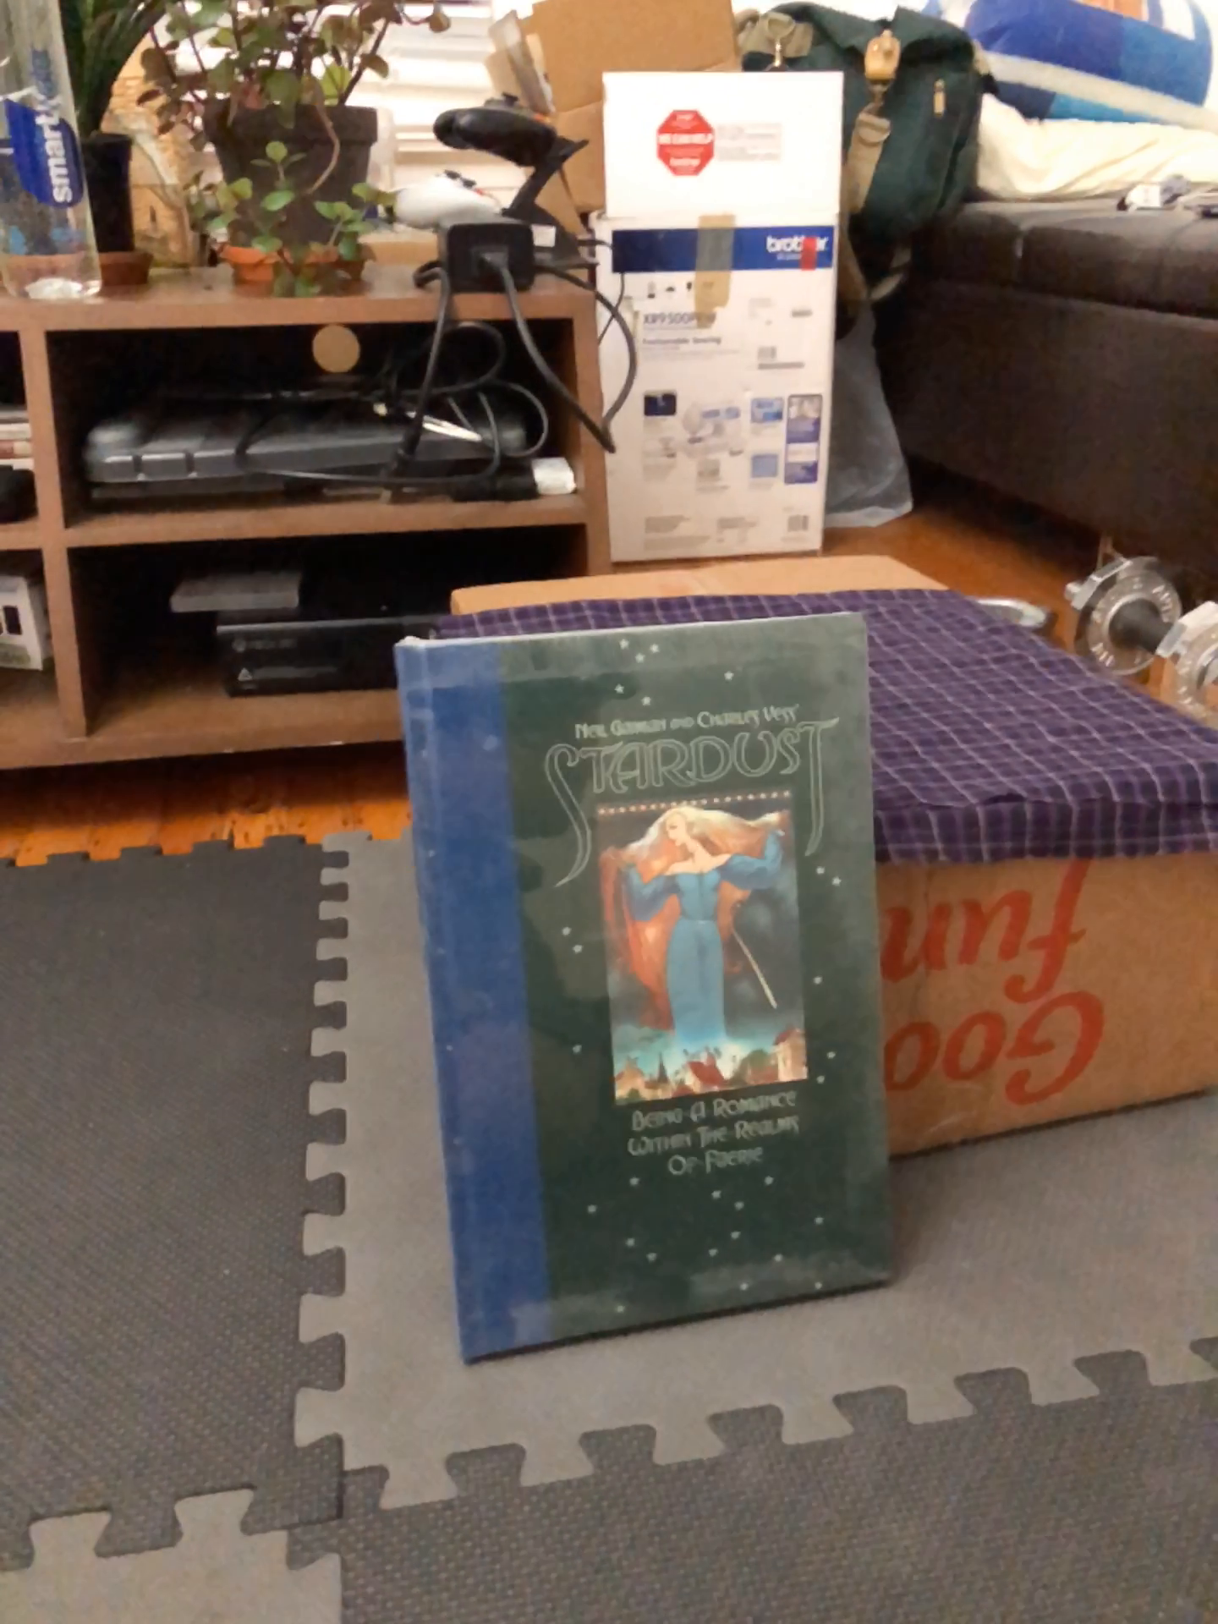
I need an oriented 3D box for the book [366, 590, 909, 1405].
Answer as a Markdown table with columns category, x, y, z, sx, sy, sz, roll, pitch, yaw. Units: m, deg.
| category | x | y | z | sx | sy | sz | roll | pitch | yaw |
| --- | --- | --- | --- | --- | --- | --- | --- | --- | --- |
| book | 0.019 | 0.079 | 0.581 | 0.210 | 0.329 | 0.020 | -7 | 8 | -11 |
